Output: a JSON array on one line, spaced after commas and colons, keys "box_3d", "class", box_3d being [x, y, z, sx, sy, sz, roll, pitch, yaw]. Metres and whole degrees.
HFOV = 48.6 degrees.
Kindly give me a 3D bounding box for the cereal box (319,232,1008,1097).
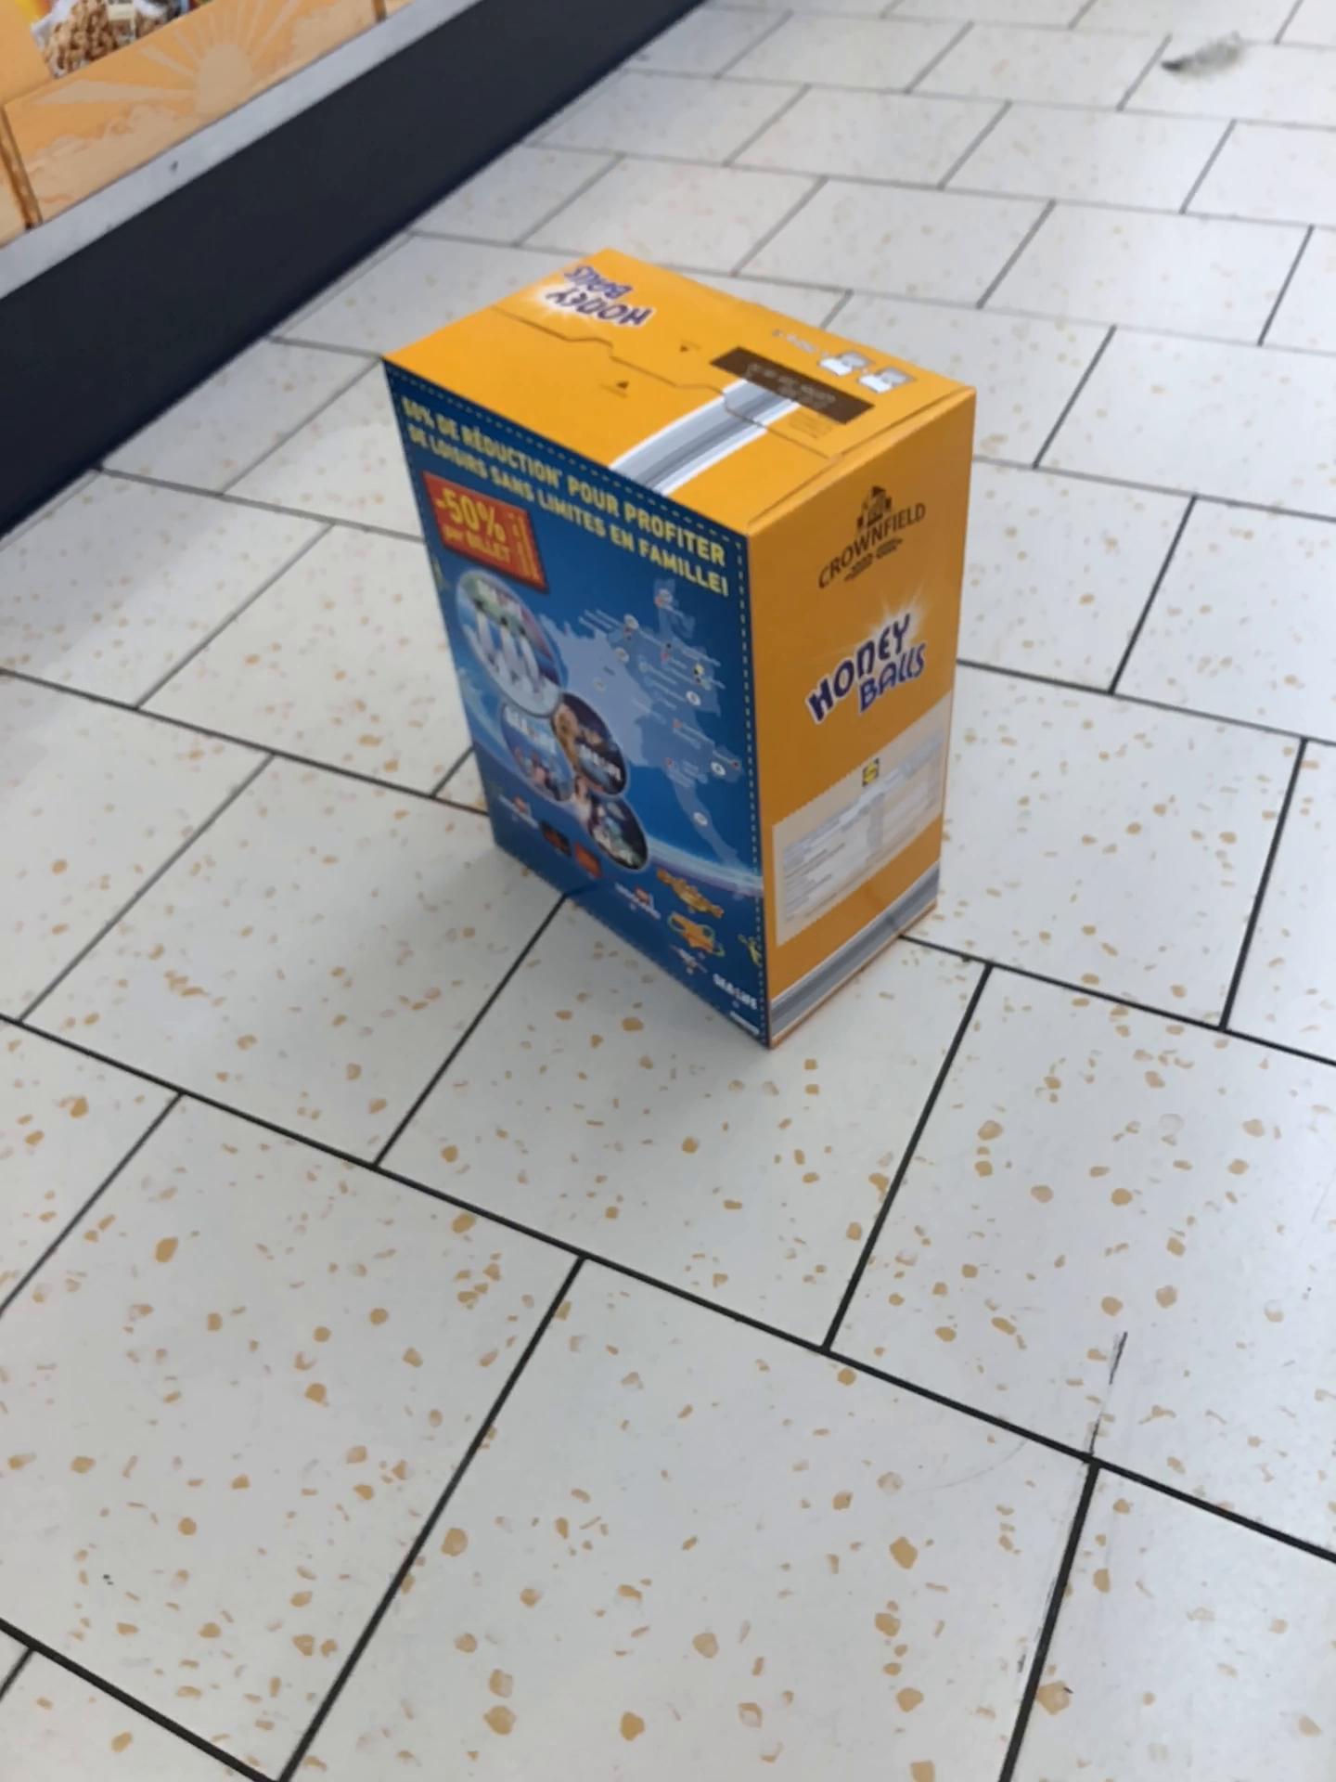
[{"box_3d": [0.002, -0.091, 0.603, 0.131, 0.258, 0.210, -37, 53, -26], "class": "cereal box"}]
